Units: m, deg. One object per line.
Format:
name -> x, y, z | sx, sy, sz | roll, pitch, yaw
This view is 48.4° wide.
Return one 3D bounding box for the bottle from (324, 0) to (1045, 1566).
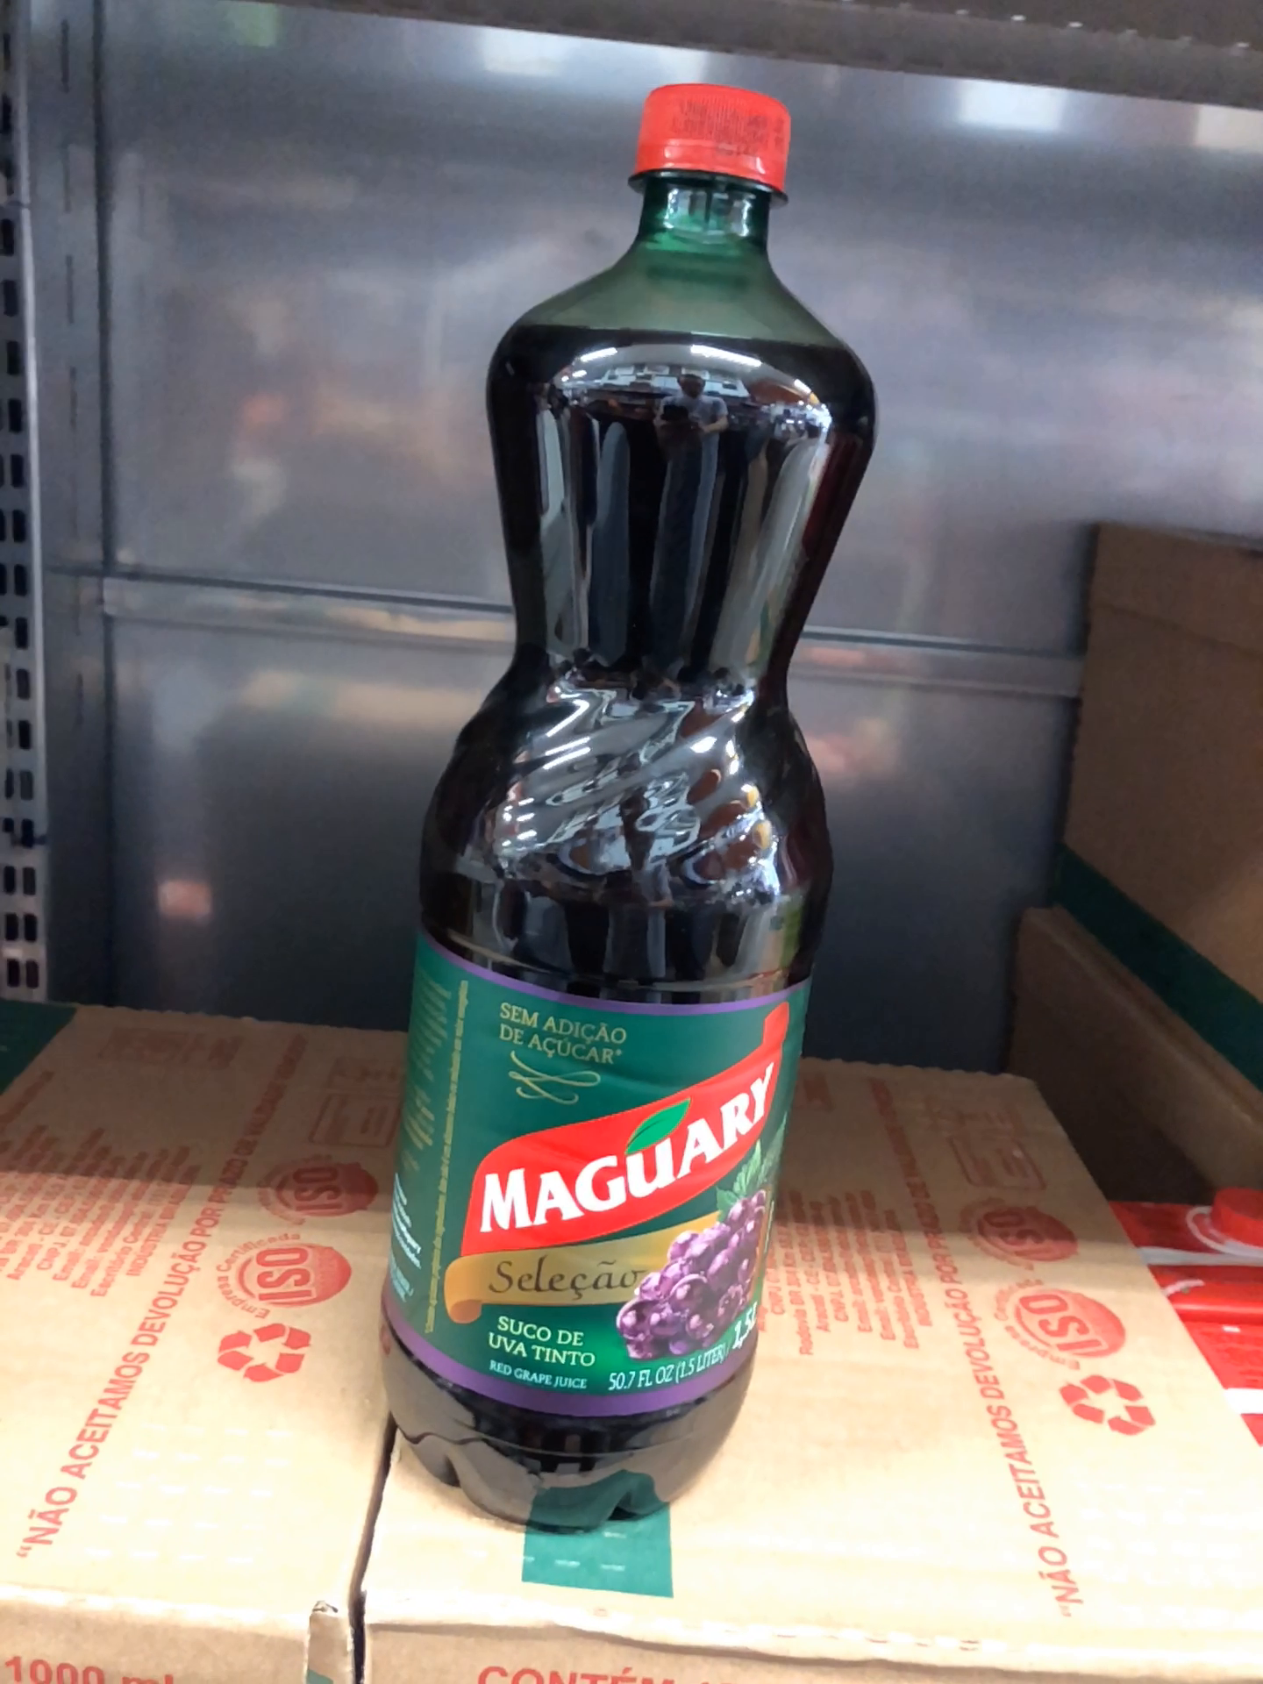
bottle -> -0.004, -0.002, 0.301 | 0.100, 0.289, 0.080 | 1, 16, -19
